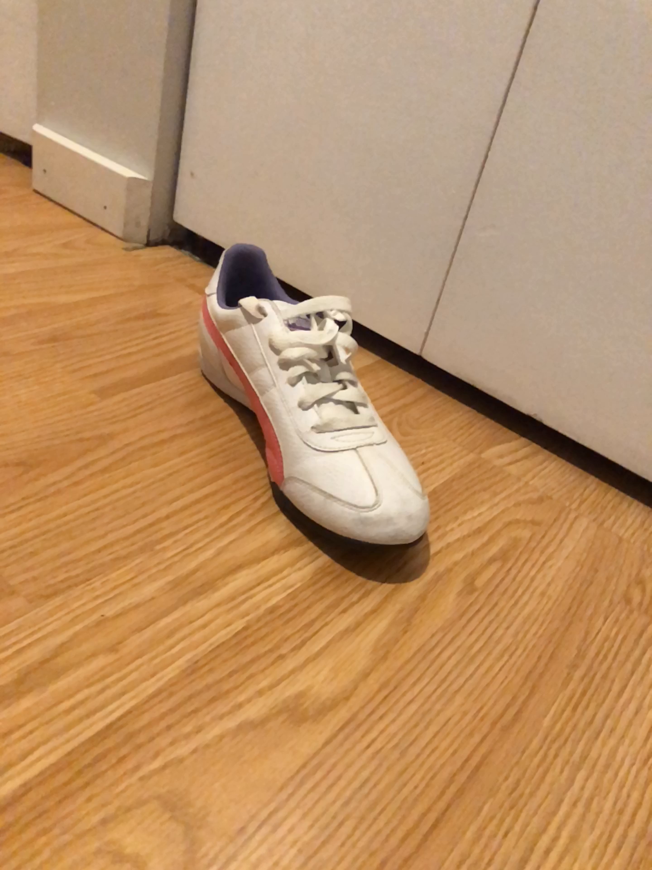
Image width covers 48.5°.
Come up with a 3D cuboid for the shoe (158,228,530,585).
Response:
[{"bbox_3d":[-0.010,-0.038,0.449,0.100,0.080,0.261,-7,39,-31],"label":"shoe"}]
